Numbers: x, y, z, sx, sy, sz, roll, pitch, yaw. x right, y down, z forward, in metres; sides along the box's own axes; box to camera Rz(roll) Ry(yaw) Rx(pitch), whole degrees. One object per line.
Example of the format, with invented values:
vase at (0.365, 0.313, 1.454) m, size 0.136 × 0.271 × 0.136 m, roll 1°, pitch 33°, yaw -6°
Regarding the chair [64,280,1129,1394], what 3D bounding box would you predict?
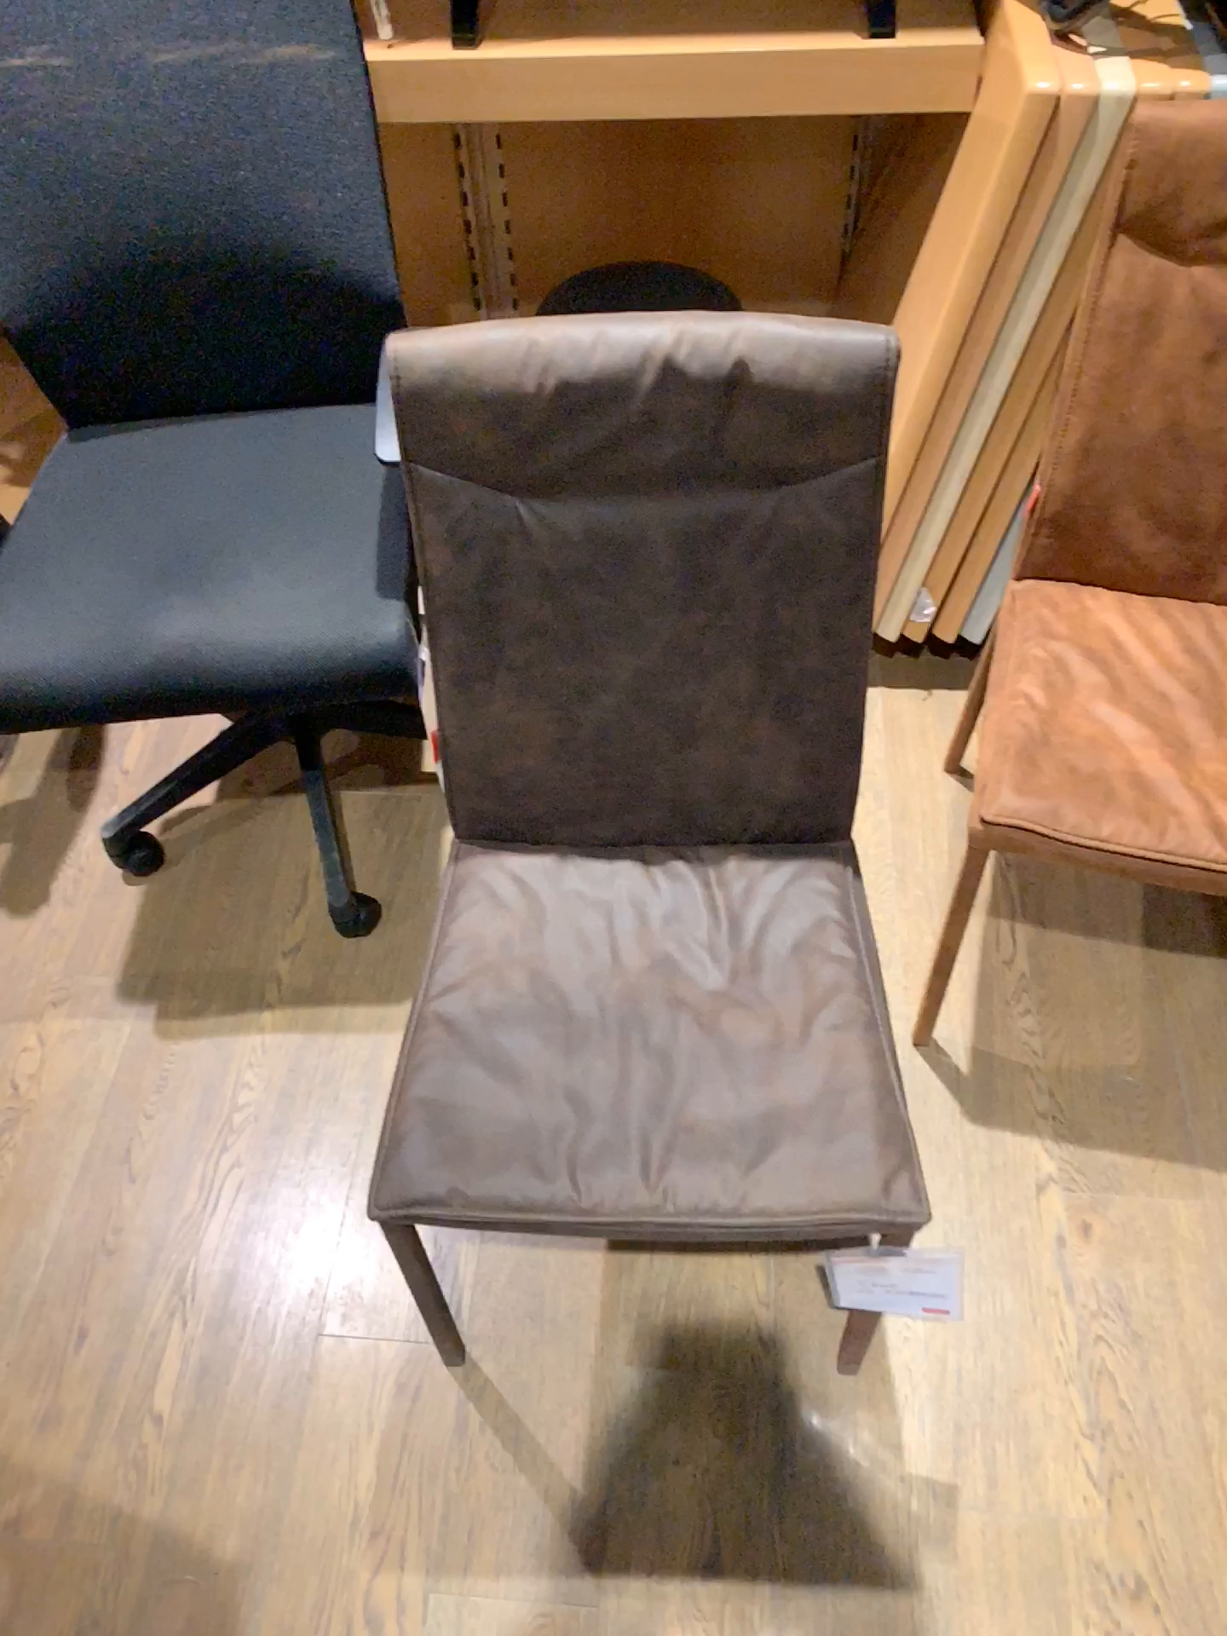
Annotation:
chair at (0.015, 0.097, 1.100) m, size 0.500 × 0.907 × 0.522 m, roll 1°, pitch 51°, yaw 4°
